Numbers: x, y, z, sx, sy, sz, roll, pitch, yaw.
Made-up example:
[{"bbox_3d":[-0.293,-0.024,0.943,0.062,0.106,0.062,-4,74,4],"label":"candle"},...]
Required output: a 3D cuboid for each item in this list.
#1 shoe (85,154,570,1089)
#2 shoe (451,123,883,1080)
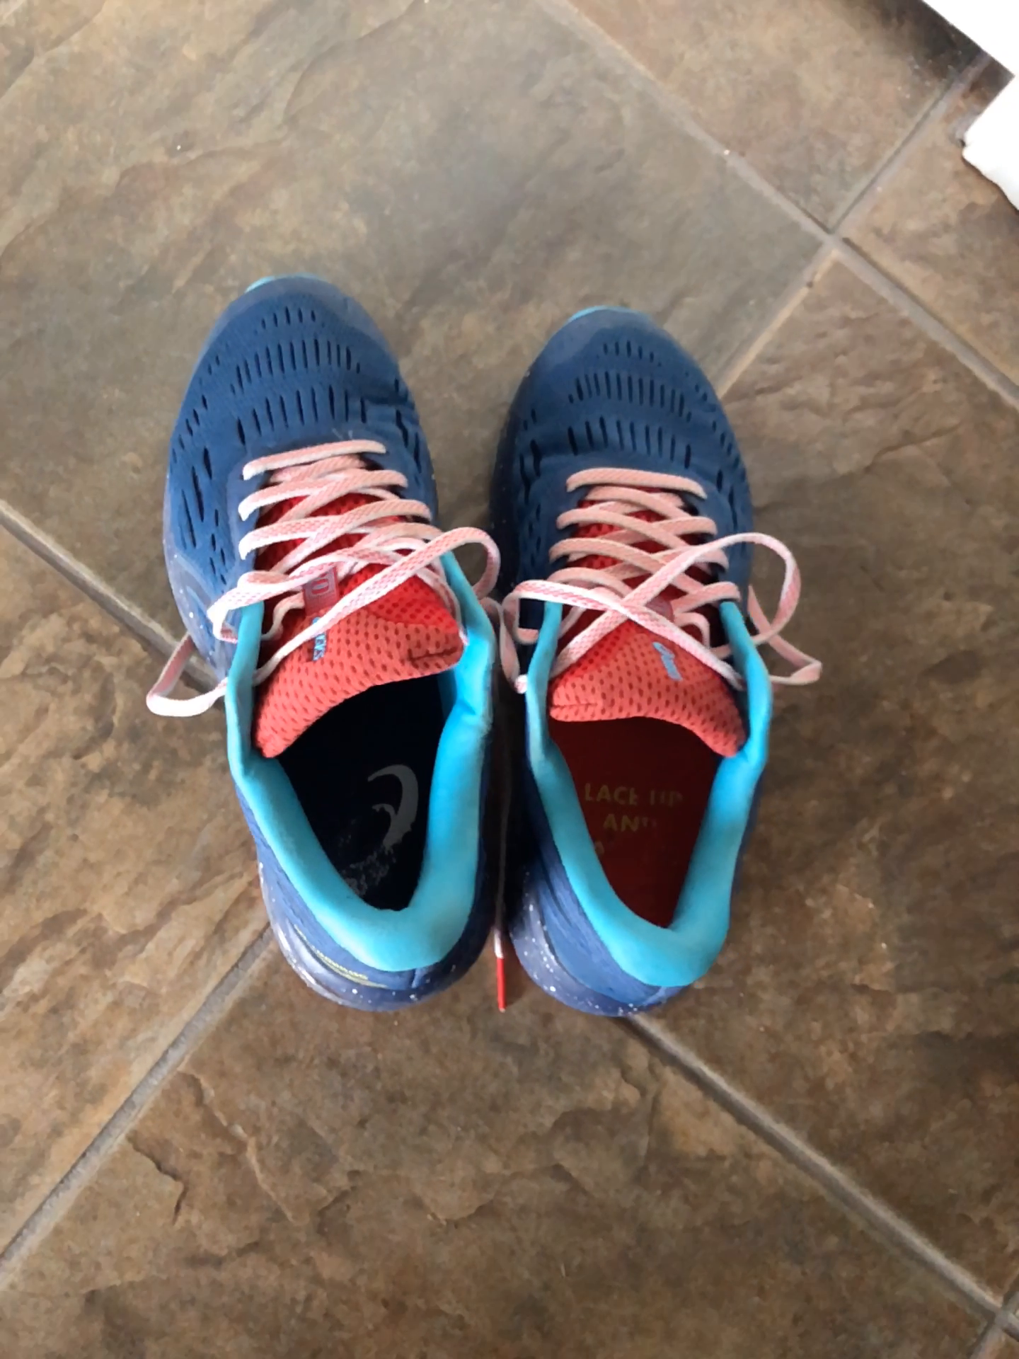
[{"bbox_3d":[-0.071,-0.022,0.434,0.120,0.130,0.300,-8,84,-9],"label":"shoe"},{"bbox_3d":[0.047,-0.022,0.419,0.120,0.130,0.300,2,82,-8],"label":"shoe"}]
